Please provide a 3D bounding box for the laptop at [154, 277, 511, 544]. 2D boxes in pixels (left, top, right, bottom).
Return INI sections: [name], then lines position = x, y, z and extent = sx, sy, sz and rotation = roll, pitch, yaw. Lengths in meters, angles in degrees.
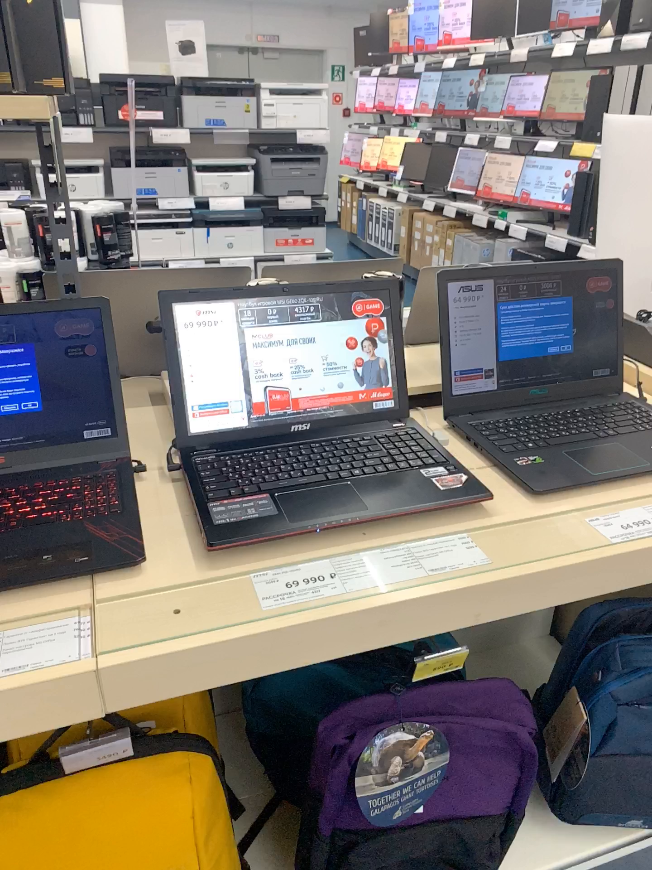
[laptop]
position = -0.013, -0.061, 0.865
extent = 0.355, 0.197, 0.313
rotation = -8, 28, -19
